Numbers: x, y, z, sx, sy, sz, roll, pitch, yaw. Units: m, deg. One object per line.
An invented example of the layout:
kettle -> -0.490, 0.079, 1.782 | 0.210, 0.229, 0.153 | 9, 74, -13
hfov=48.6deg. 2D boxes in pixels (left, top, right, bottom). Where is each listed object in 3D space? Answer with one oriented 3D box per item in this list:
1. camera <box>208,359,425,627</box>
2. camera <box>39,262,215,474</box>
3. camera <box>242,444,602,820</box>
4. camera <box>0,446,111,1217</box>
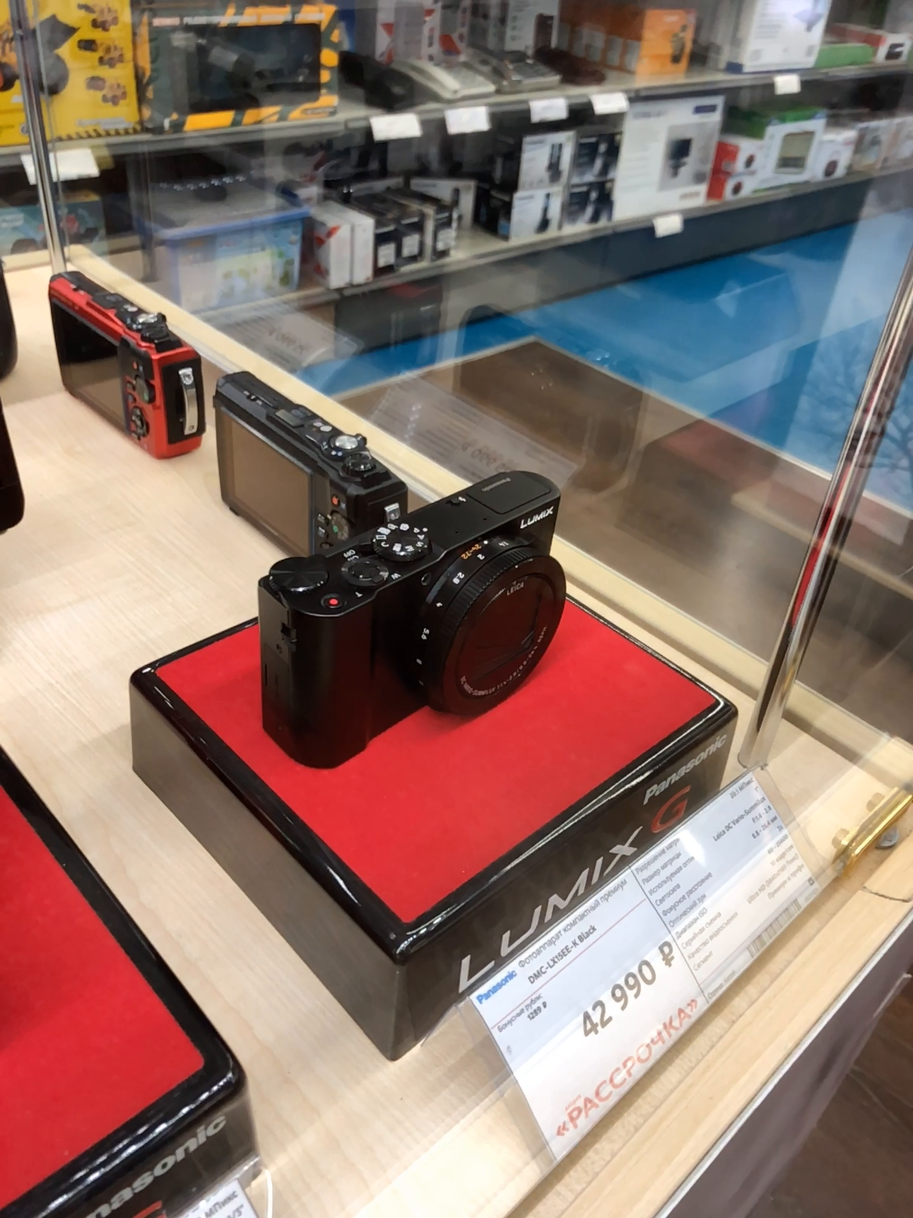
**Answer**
camera -> -0.065, -0.054, 0.450 | 0.033, 0.072, 0.110 | -25, 47, -35
camera -> -0.176, -0.131, 0.542 | 0.033, 0.072, 0.110 | -26, 47, -36
camera -> -0.009, 0.003, 0.318 | 0.040, 0.070, 0.110 | 32, 44, 31
camera -> -0.137, 0.048, 0.185 | 0.110, 0.112, 0.066 | -27, 48, -37
